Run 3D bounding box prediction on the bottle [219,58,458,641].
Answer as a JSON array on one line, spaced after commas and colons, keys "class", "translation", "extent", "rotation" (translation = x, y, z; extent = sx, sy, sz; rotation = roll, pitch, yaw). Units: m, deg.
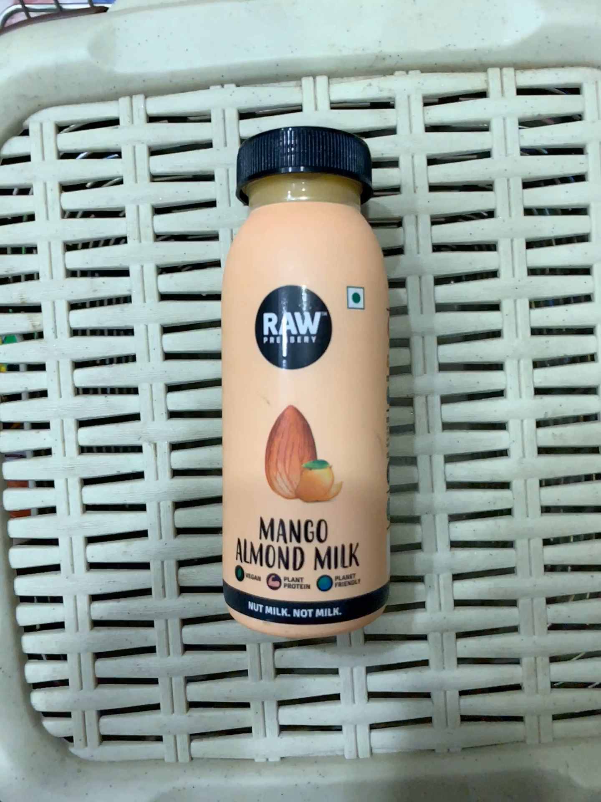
[{"class": "bottle", "translation": [0.009, -0.013, 0.181], "extent": [0.060, 0.040, 0.150], "rotation": [1, 91, -1]}]
